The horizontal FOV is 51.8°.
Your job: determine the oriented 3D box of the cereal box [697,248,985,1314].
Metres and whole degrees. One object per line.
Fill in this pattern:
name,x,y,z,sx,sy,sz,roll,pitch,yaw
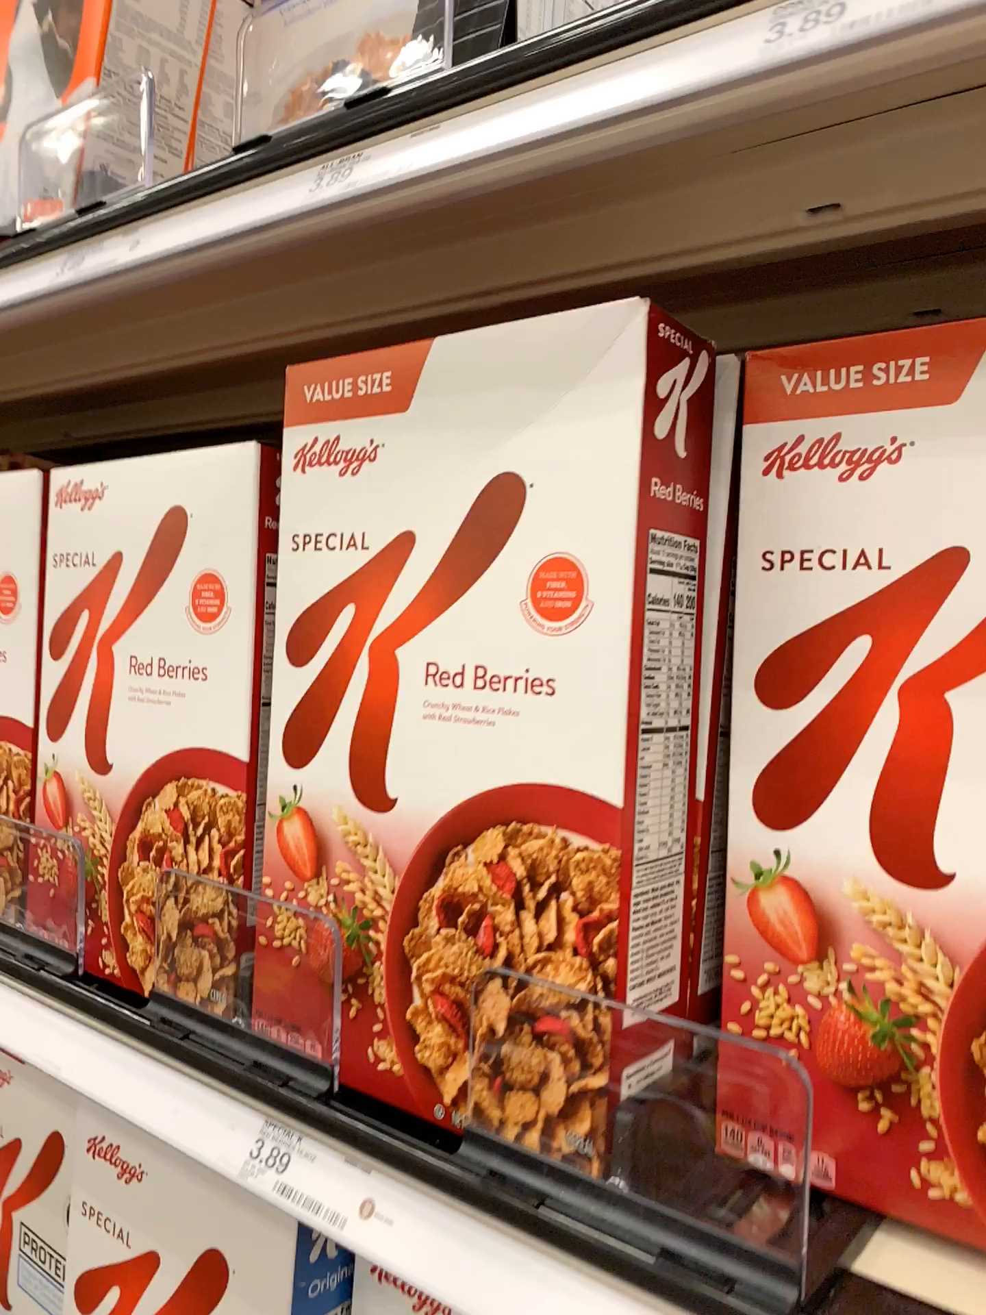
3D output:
cereal box,0.186,0.048,0.361,0.200,0.330,0.060,4,2,36

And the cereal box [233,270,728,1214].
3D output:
cereal box,-0.015,0.024,0.428,0.200,0.320,0.060,4,2,37

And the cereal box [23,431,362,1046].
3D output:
cereal box,-0.172,0.033,0.561,0.200,0.290,0.060,4,2,36
